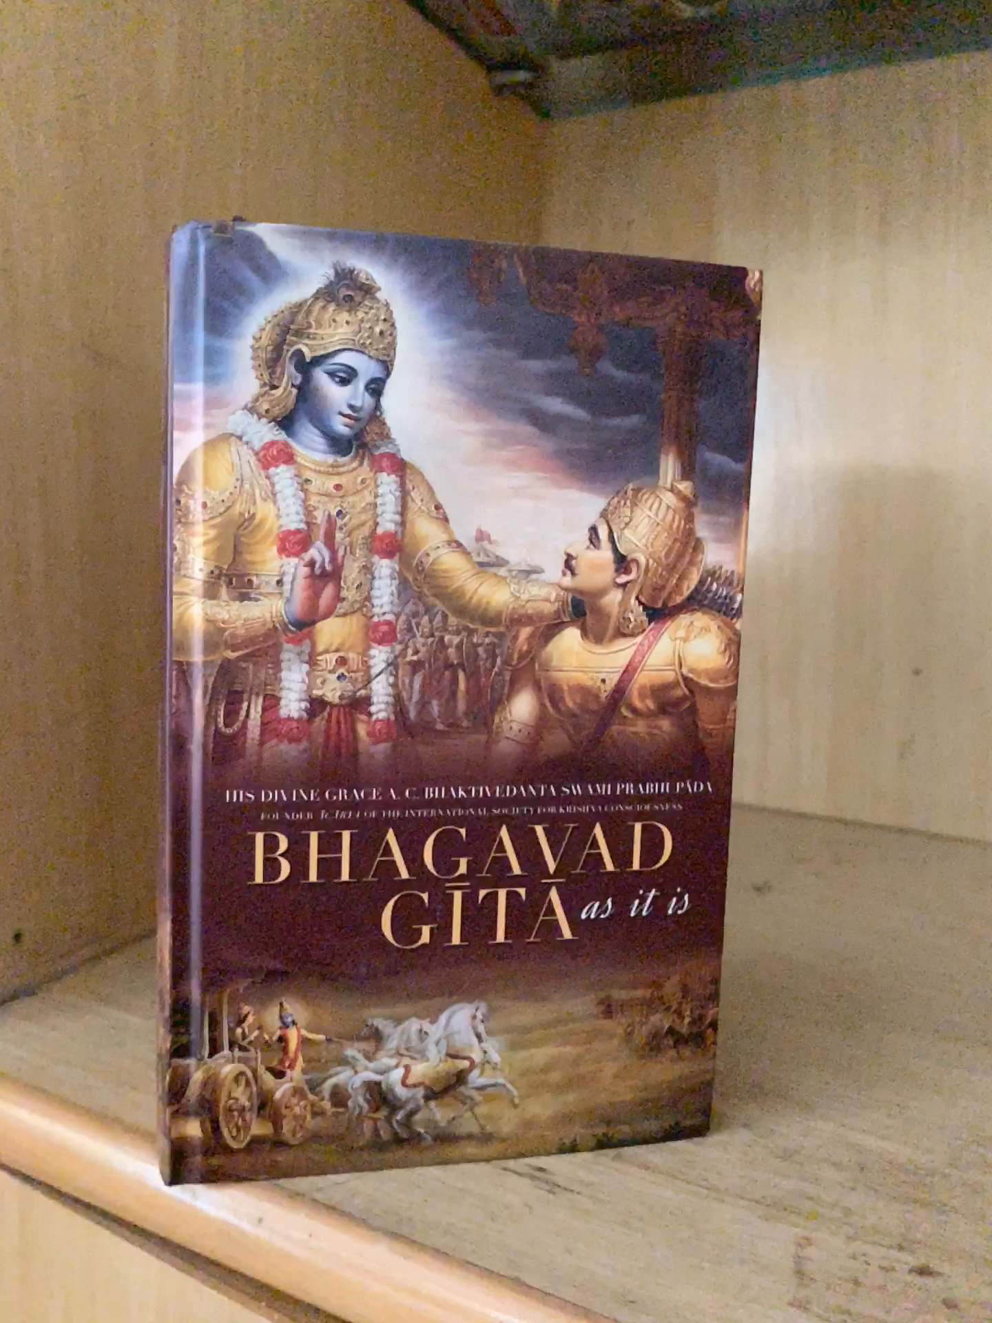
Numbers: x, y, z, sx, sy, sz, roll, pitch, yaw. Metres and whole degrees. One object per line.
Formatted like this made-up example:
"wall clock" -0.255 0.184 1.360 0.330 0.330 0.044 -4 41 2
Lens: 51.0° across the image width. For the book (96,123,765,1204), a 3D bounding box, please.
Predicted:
"book" -0.020 0.002 0.259 0.140 0.220 0.070 1 5 -12
